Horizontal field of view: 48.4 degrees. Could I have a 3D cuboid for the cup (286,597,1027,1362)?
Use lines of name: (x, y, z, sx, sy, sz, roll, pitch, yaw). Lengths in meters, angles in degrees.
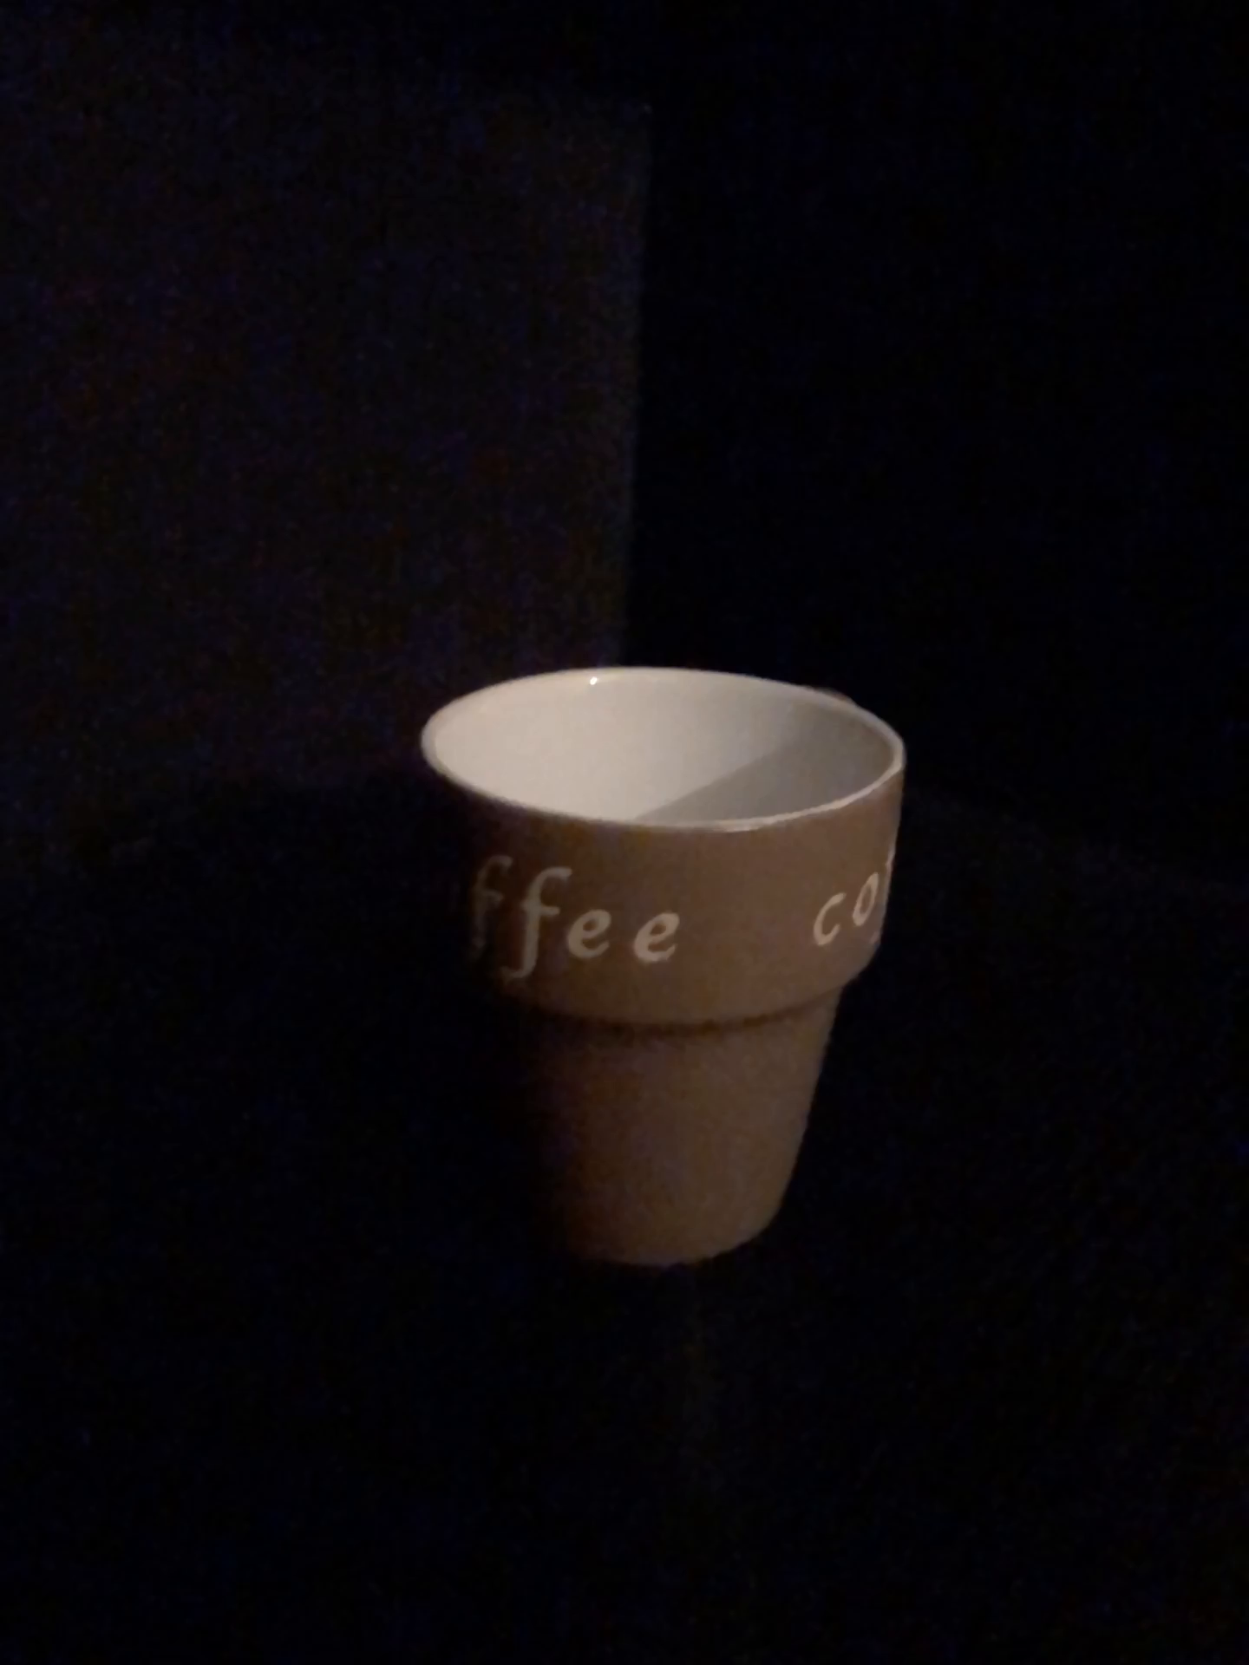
cup: (0.009, 0.014, 0.253, 0.080, 0.082, 0.108, 18, 28, 31)
